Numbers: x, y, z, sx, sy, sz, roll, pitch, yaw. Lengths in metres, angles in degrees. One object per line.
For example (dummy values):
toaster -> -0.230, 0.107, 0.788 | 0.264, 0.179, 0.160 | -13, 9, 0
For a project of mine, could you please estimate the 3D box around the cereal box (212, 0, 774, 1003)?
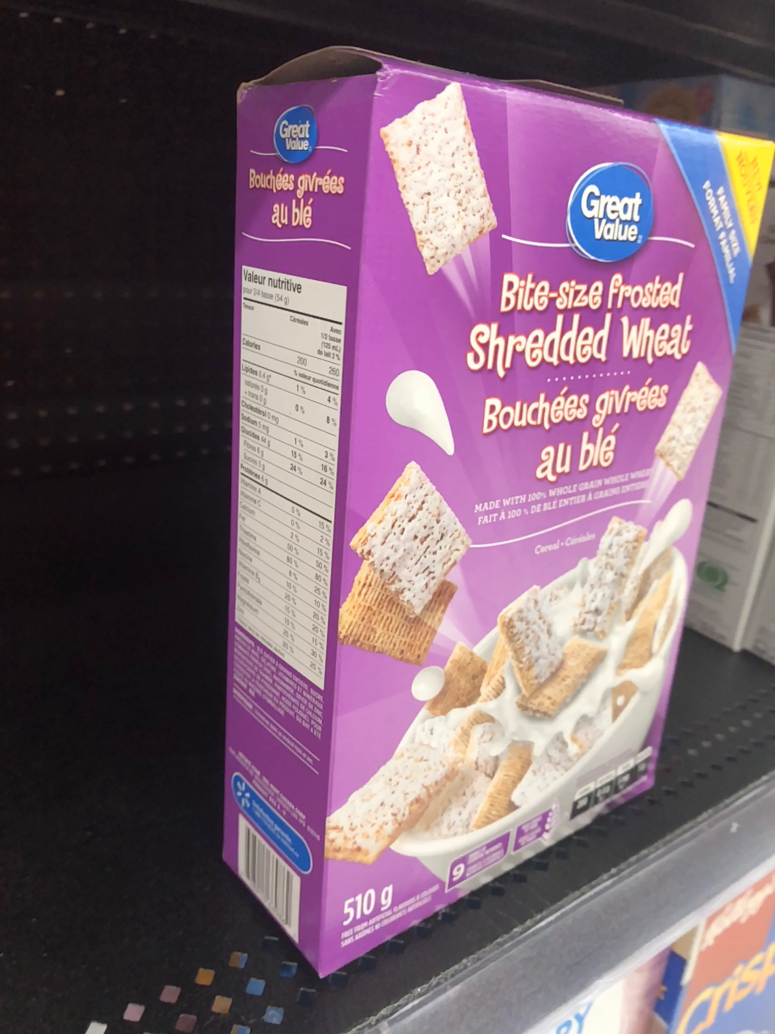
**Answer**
cereal box -> 0.048, -0.006, 0.317 | 0.210, 0.279, 0.070 | -11, 24, -37
